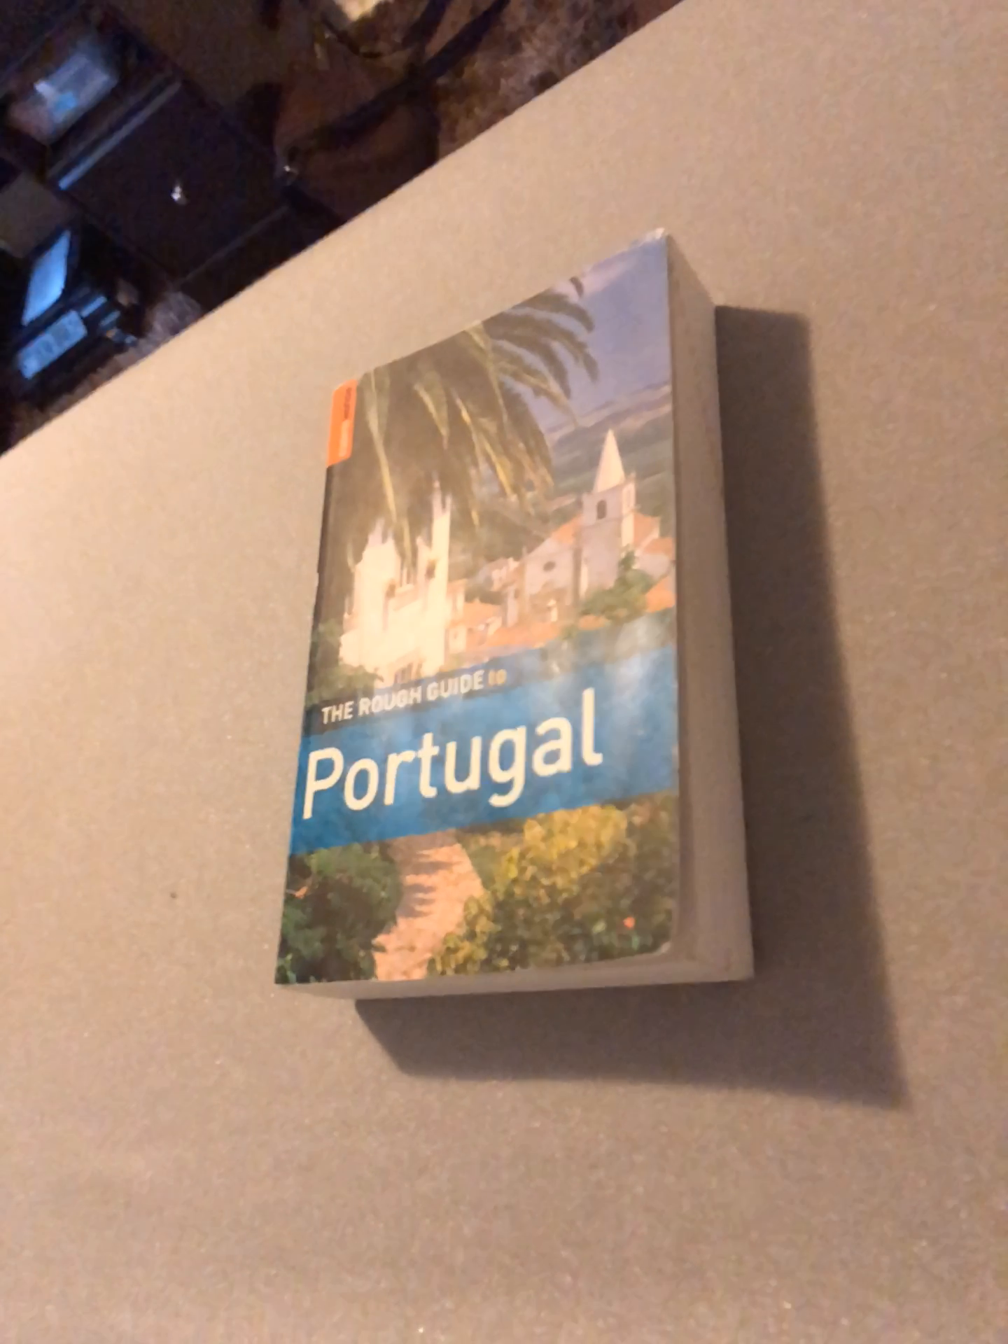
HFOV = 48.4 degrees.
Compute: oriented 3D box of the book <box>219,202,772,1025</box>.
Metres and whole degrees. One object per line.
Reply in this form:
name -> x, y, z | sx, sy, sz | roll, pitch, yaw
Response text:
book -> -0.006, -0.013, 0.317 | 0.139, 0.040, 0.204 | -16, 61, 33
